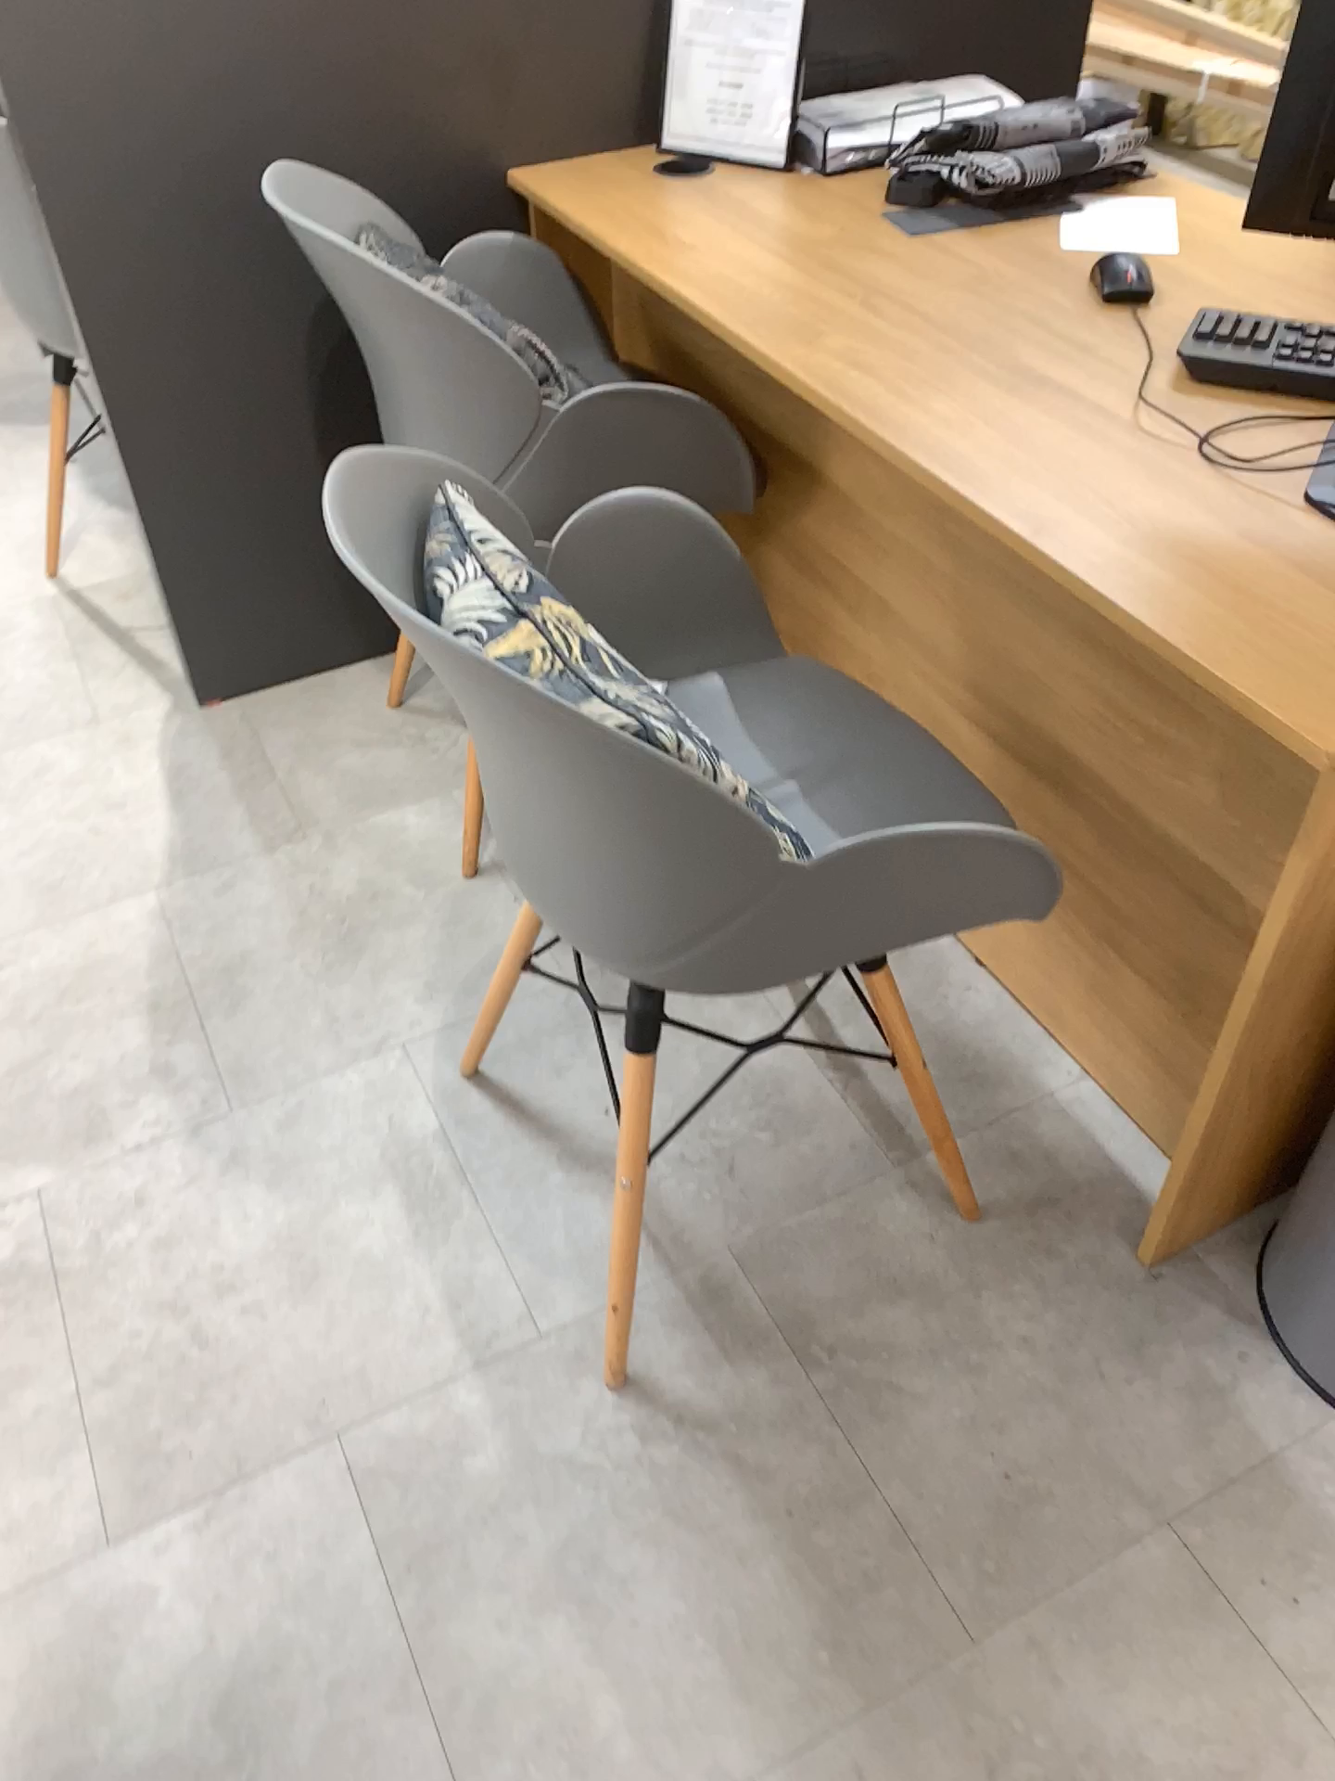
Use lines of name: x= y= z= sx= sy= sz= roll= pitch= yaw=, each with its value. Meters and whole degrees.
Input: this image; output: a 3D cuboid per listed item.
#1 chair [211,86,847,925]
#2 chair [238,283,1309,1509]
chair: x=-0.173 y=-0.515 z=1.814 sx=0.547 sy=0.808 sz=0.592 roll=-19 pitch=46 yaw=-17
chair: x=0.040 y=0.003 z=1.249 sx=0.547 sy=0.808 sz=0.602 roll=-19 pitch=46 yaw=-17
